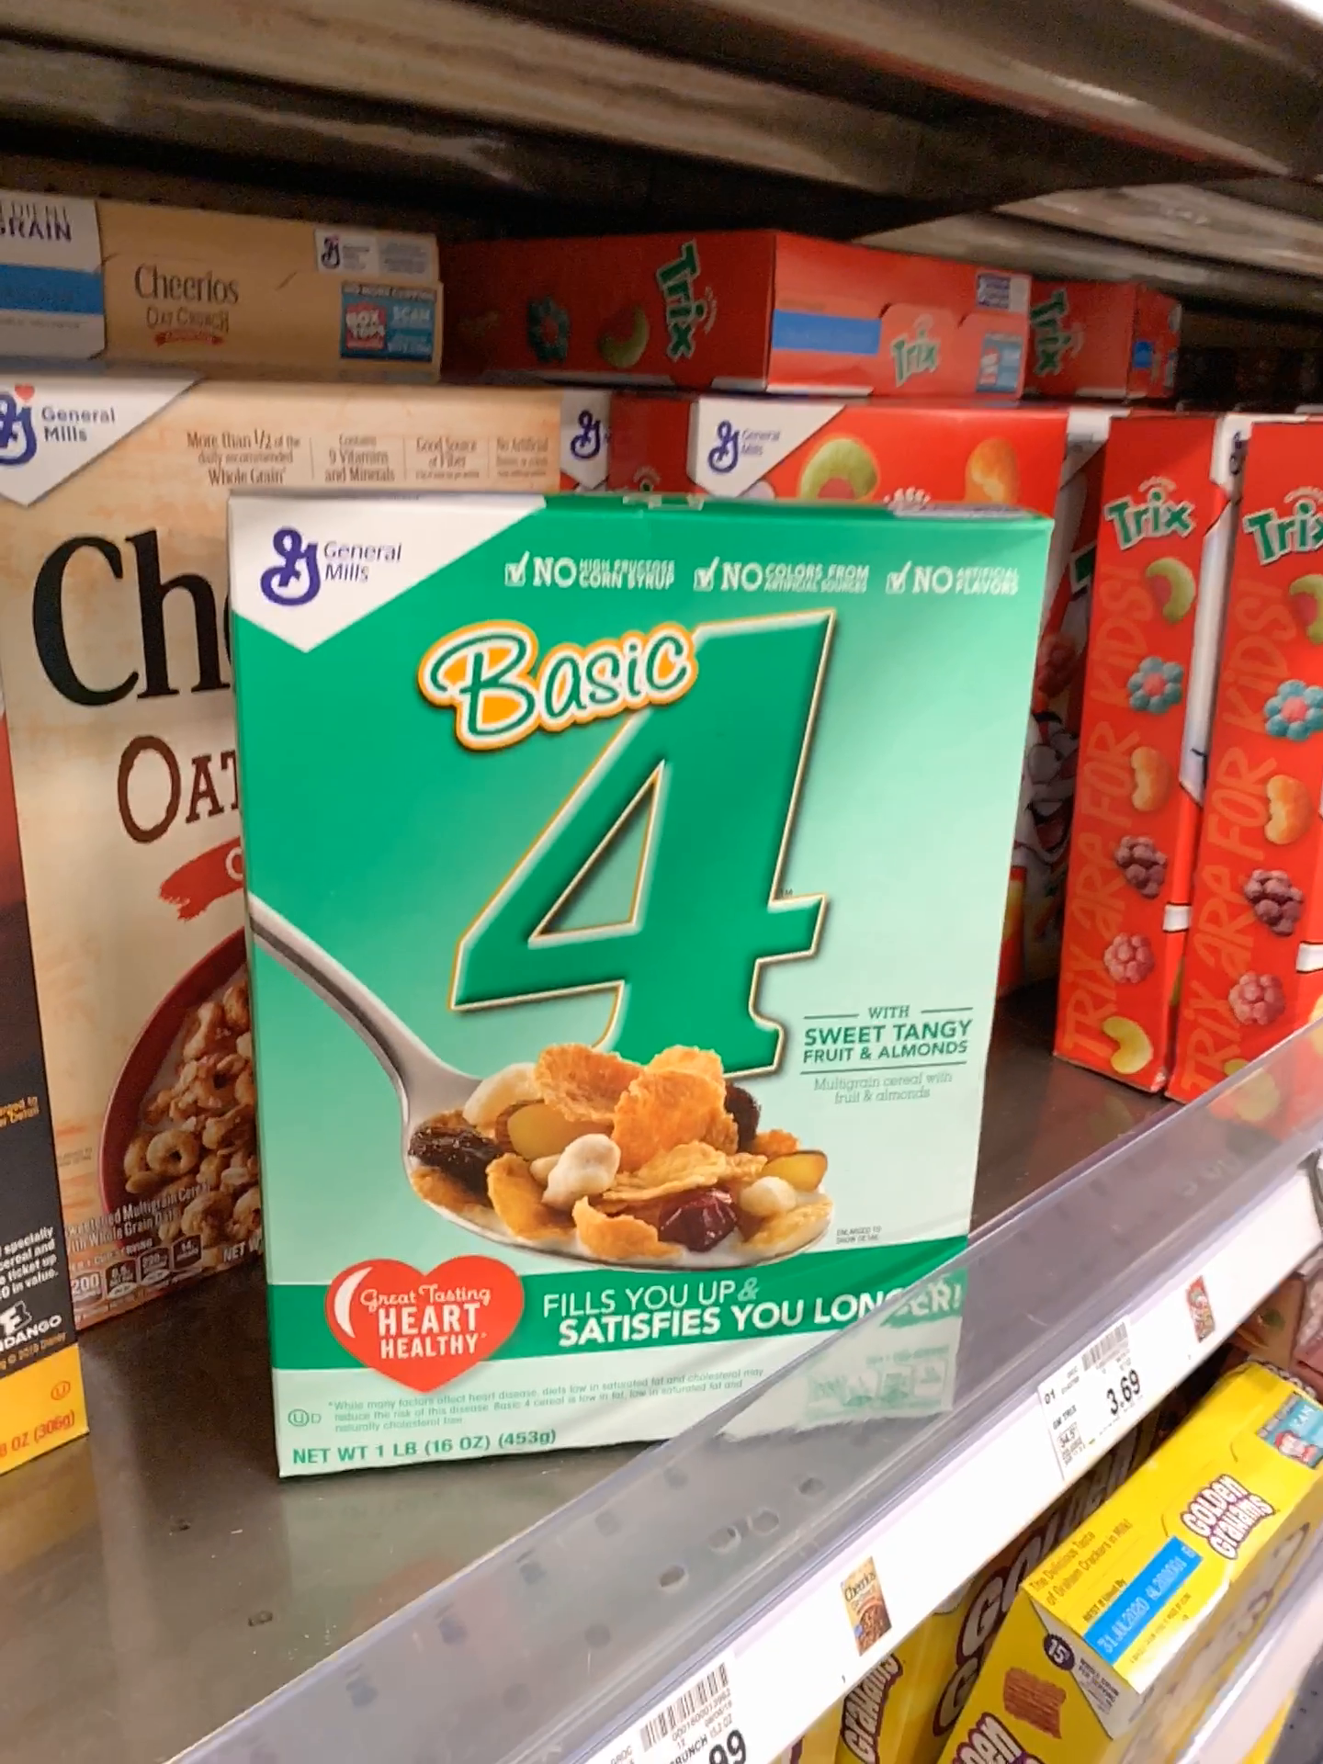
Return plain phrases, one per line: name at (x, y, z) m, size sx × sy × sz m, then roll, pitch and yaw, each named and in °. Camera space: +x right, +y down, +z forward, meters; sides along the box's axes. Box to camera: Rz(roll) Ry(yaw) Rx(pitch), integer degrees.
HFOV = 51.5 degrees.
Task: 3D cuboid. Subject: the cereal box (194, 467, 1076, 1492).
cereal box at (-0.009, 0.028, 0.368) m, size 0.200 × 0.259 × 0.050 m, roll -1°, pitch 18°, yaw -11°
